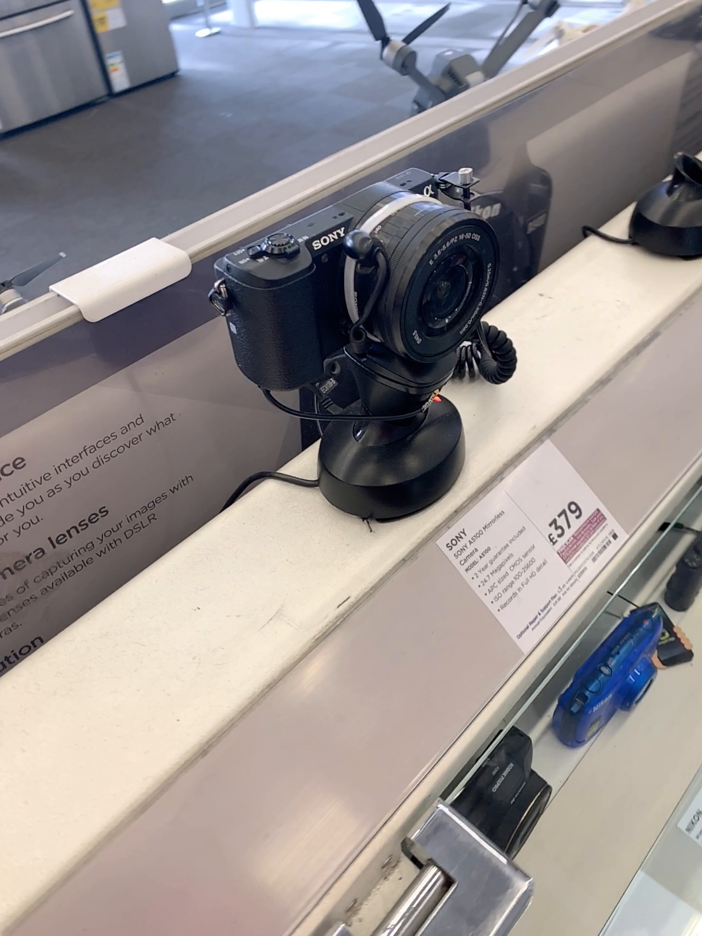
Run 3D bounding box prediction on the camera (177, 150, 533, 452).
[{"bbox_3d":[0.006,-0.077,0.307,0.120,0.059,0.080,-36,50,-27],"label":"camera"}]
